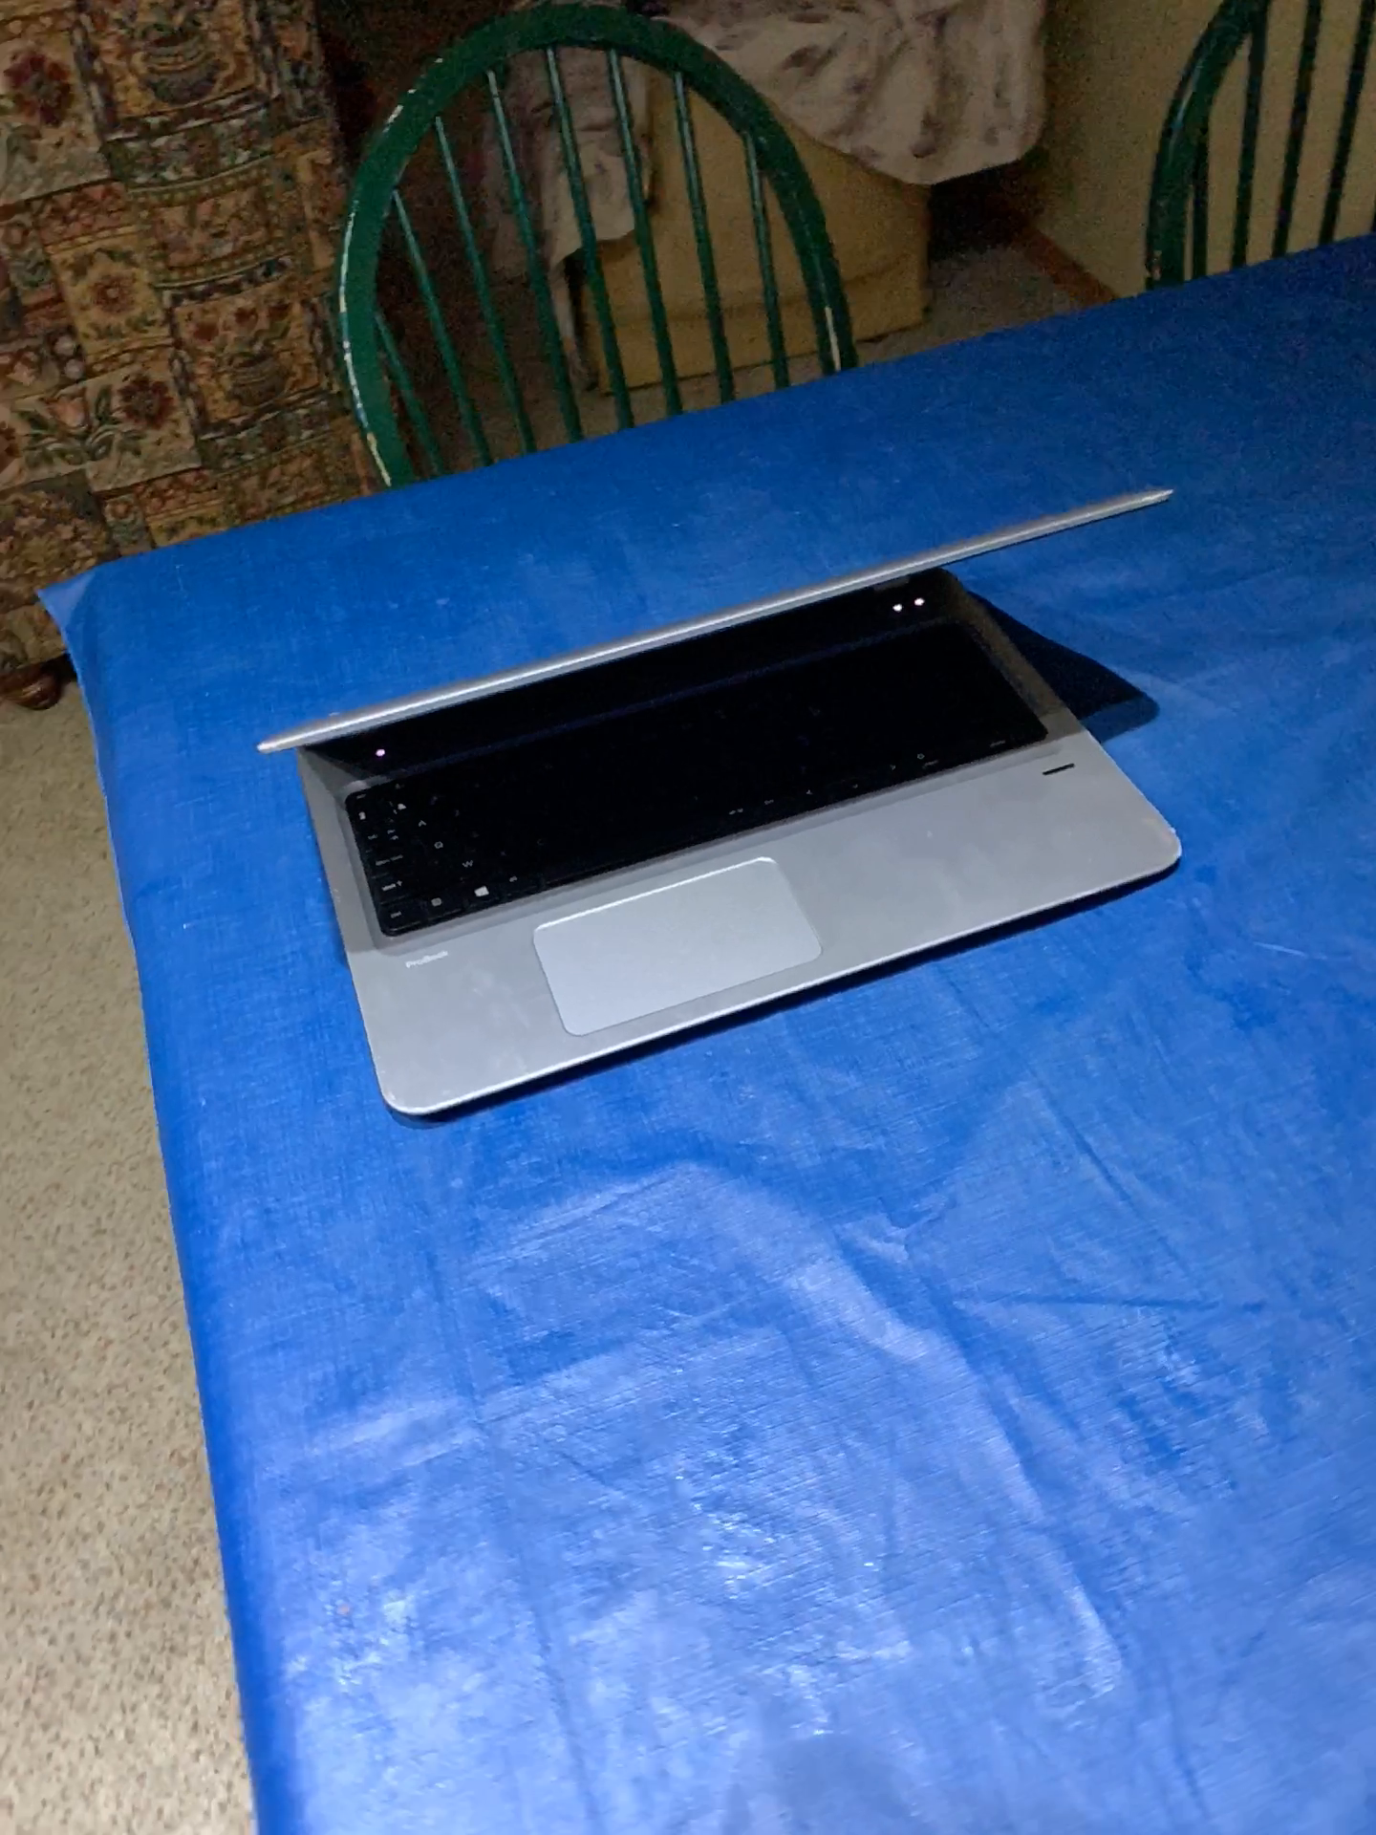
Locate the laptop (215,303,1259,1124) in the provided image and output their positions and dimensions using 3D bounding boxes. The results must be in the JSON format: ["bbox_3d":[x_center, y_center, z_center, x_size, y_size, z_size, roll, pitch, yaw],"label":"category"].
[{"bbox_3d":[0.006,-0.109,0.638,0.365,0.156,0.255,-18,49,-10],"label":"laptop"}]
